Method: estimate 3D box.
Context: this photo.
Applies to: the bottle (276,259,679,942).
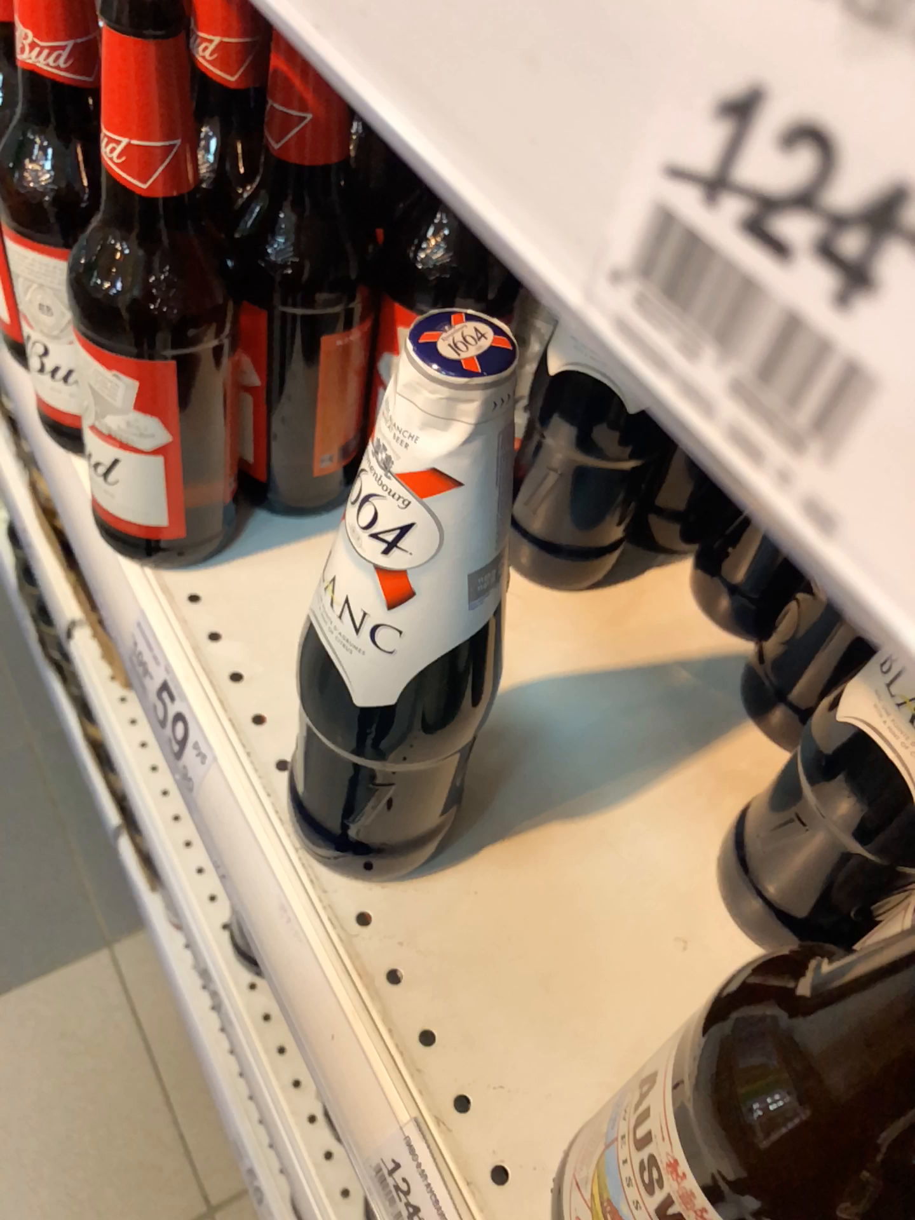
[{"bbox_3d":[-0.013,0.015,0.337,0.070,0.234,0.080,-16,55,-22],"label":"bottle"}]
